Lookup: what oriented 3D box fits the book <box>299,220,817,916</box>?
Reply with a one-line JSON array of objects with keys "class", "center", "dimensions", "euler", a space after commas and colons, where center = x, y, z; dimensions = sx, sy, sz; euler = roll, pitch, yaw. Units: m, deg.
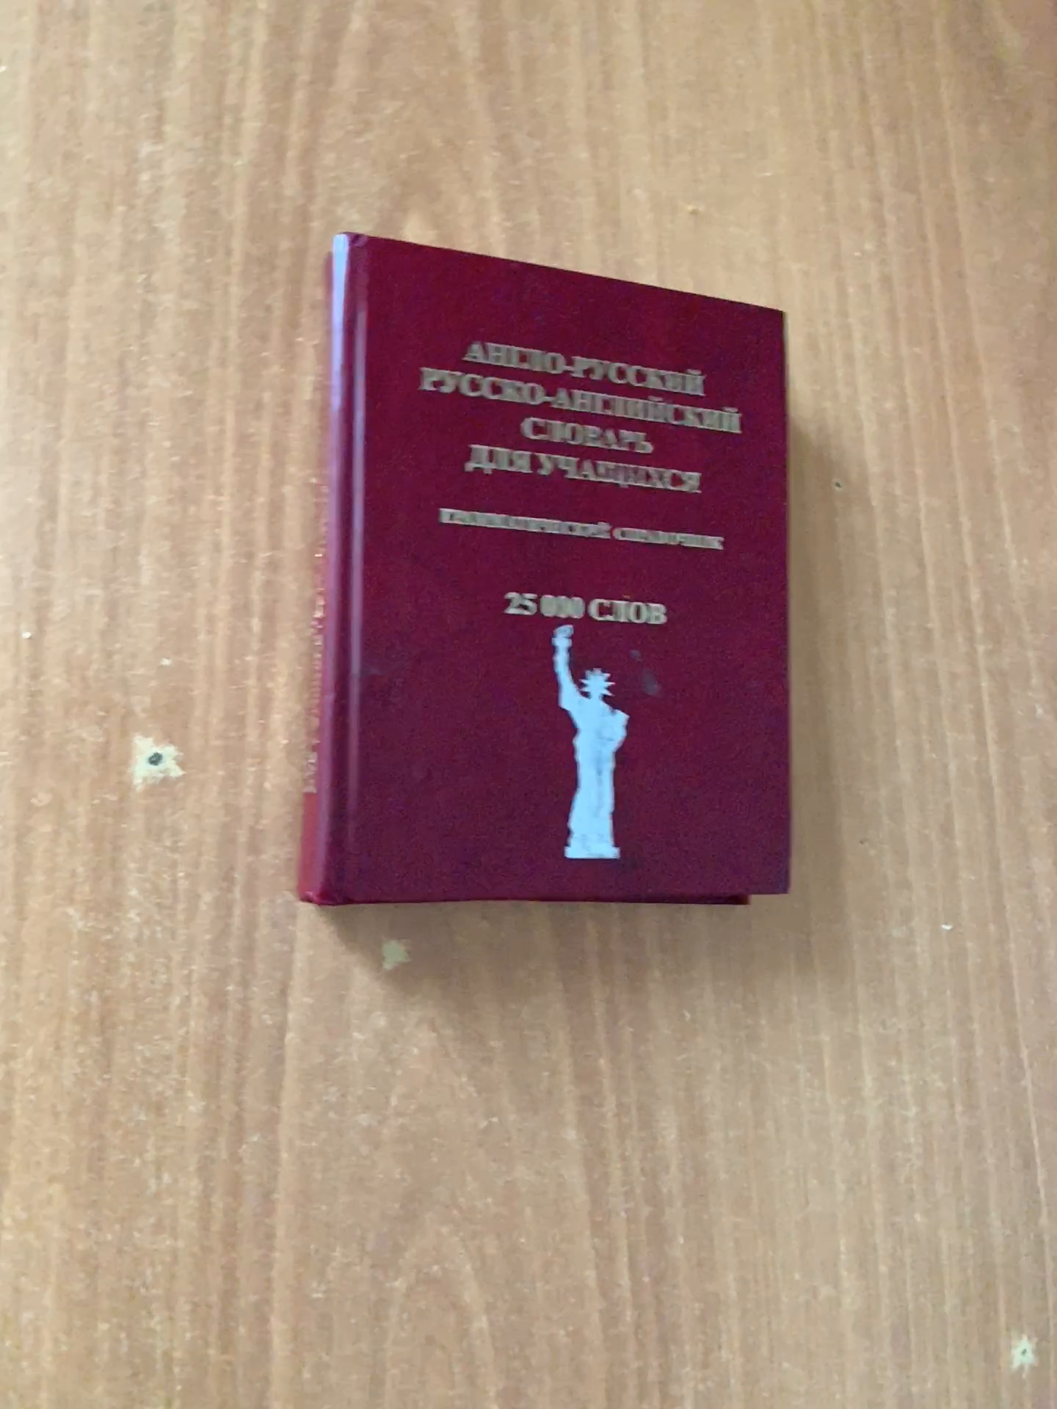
[{"class": "book", "center": [0.012, -0.030, 0.290], "dimensions": [0.135, 0.023, 0.166], "euler": [3, 85, -20]}]
